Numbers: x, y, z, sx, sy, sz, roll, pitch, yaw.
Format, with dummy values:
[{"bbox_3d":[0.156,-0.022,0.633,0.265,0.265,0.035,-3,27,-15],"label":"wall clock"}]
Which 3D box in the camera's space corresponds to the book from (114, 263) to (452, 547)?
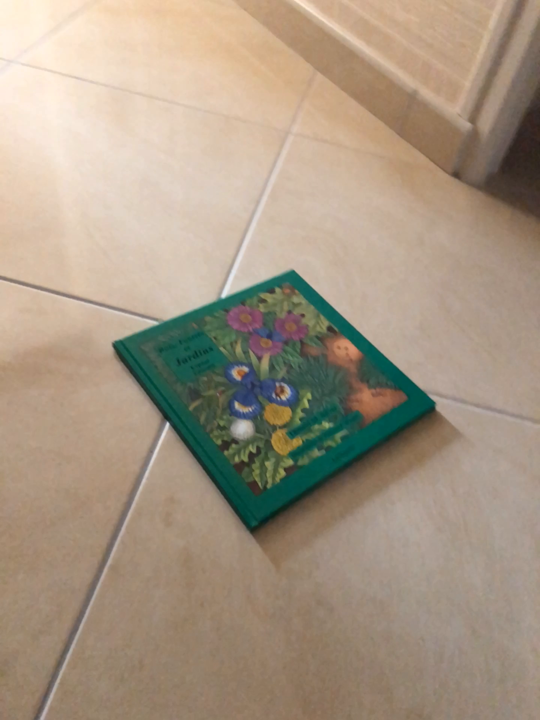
[{"bbox_3d":[0.012,0.020,0.595,0.241,0.030,0.240,-27,59,-29],"label":"book"}]
